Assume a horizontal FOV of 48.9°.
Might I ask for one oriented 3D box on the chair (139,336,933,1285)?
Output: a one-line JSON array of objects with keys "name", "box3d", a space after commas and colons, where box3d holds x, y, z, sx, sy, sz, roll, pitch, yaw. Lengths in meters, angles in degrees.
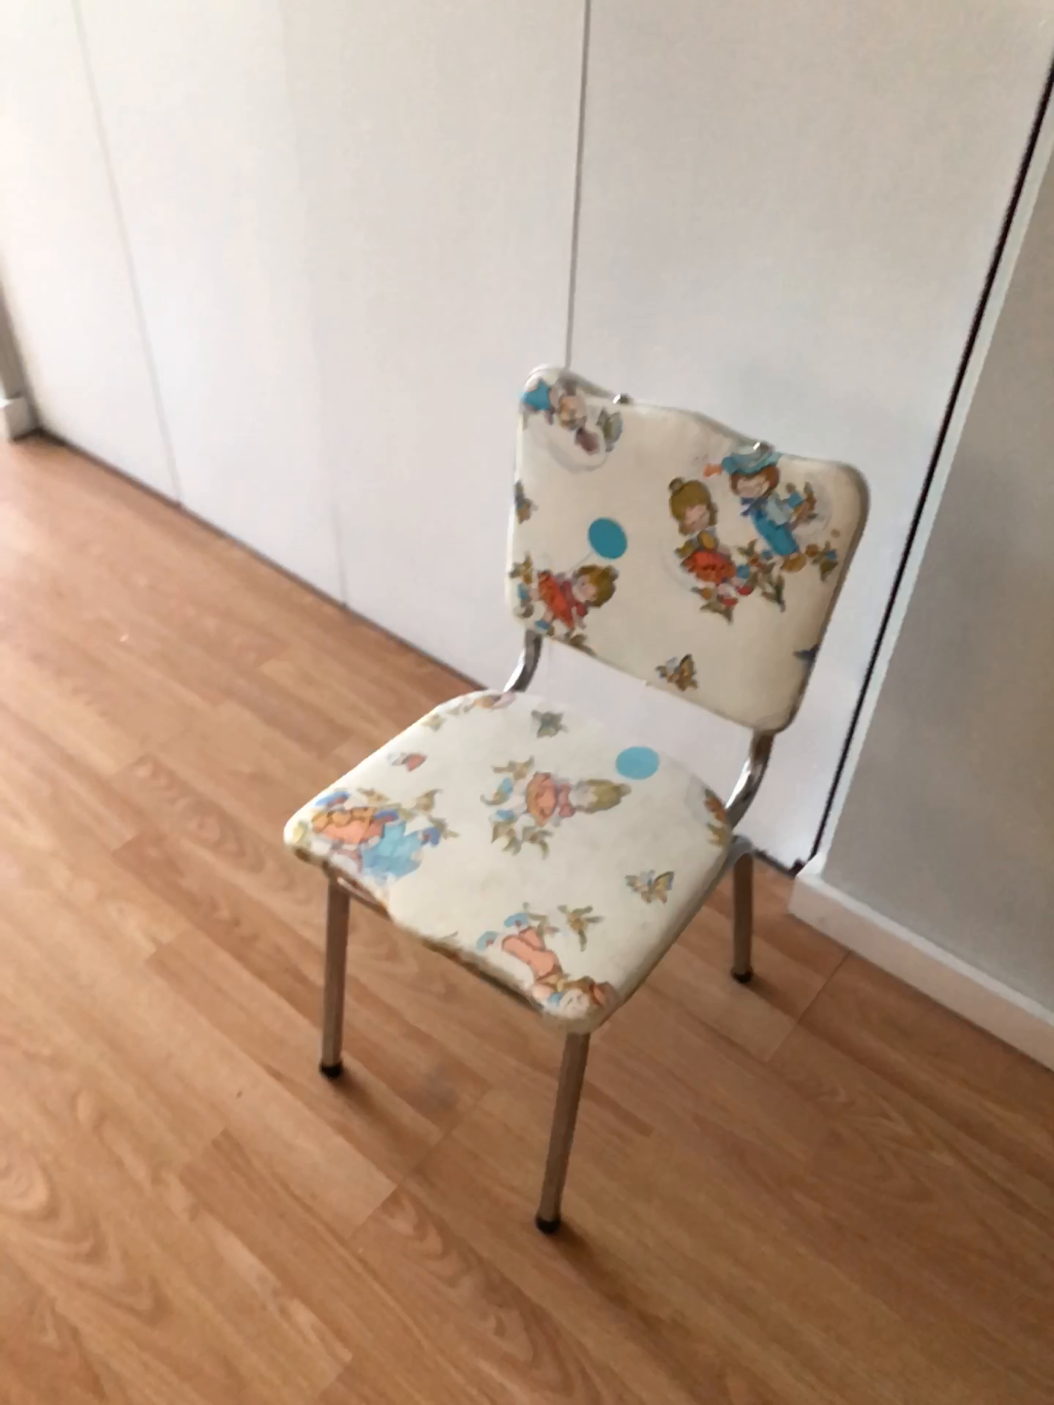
[{"name": "chair", "box3d": [0.013, 0.086, 0.936, 0.351, 0.558, 0.391, 27, 48, 25]}]
